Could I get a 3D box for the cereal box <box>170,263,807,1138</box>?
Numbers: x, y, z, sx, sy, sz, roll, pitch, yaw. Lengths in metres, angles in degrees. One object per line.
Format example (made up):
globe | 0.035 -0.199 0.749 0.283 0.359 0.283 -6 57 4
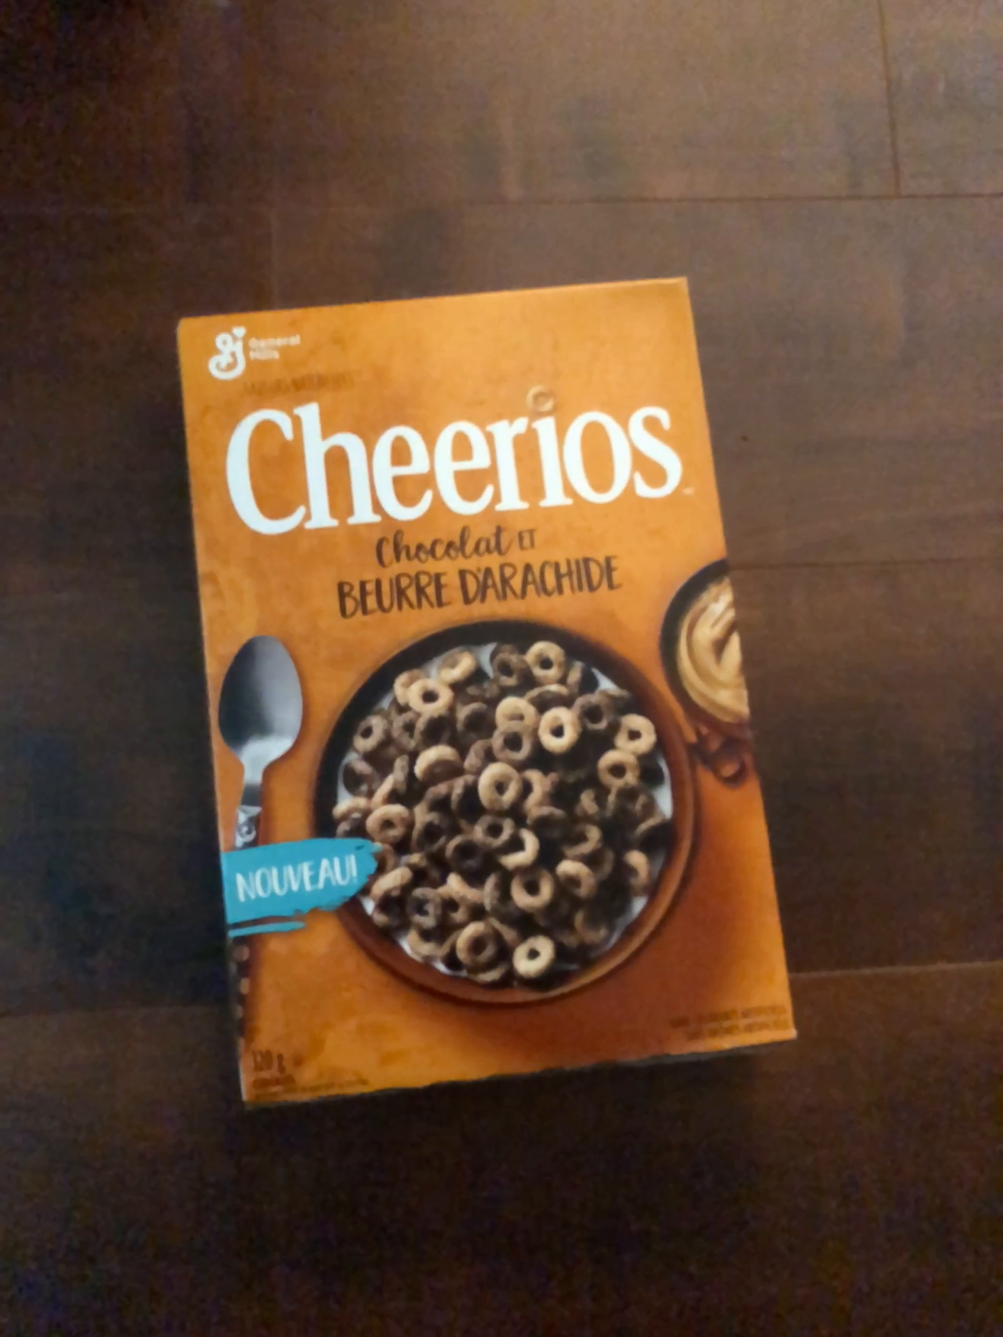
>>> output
cereal box | -0.009 0.006 0.435 0.200 0.060 0.300 -6 83 -3
